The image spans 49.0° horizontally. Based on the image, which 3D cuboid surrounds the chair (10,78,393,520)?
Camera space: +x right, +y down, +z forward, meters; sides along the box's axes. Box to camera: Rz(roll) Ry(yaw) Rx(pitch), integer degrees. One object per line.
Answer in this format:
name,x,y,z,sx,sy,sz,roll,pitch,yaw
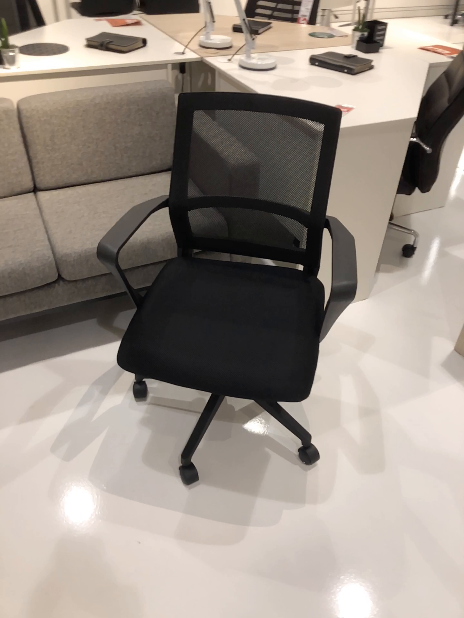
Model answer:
chair,-0.017,-0.029,1.407,0.680,0.932,0.635,9,39,9
